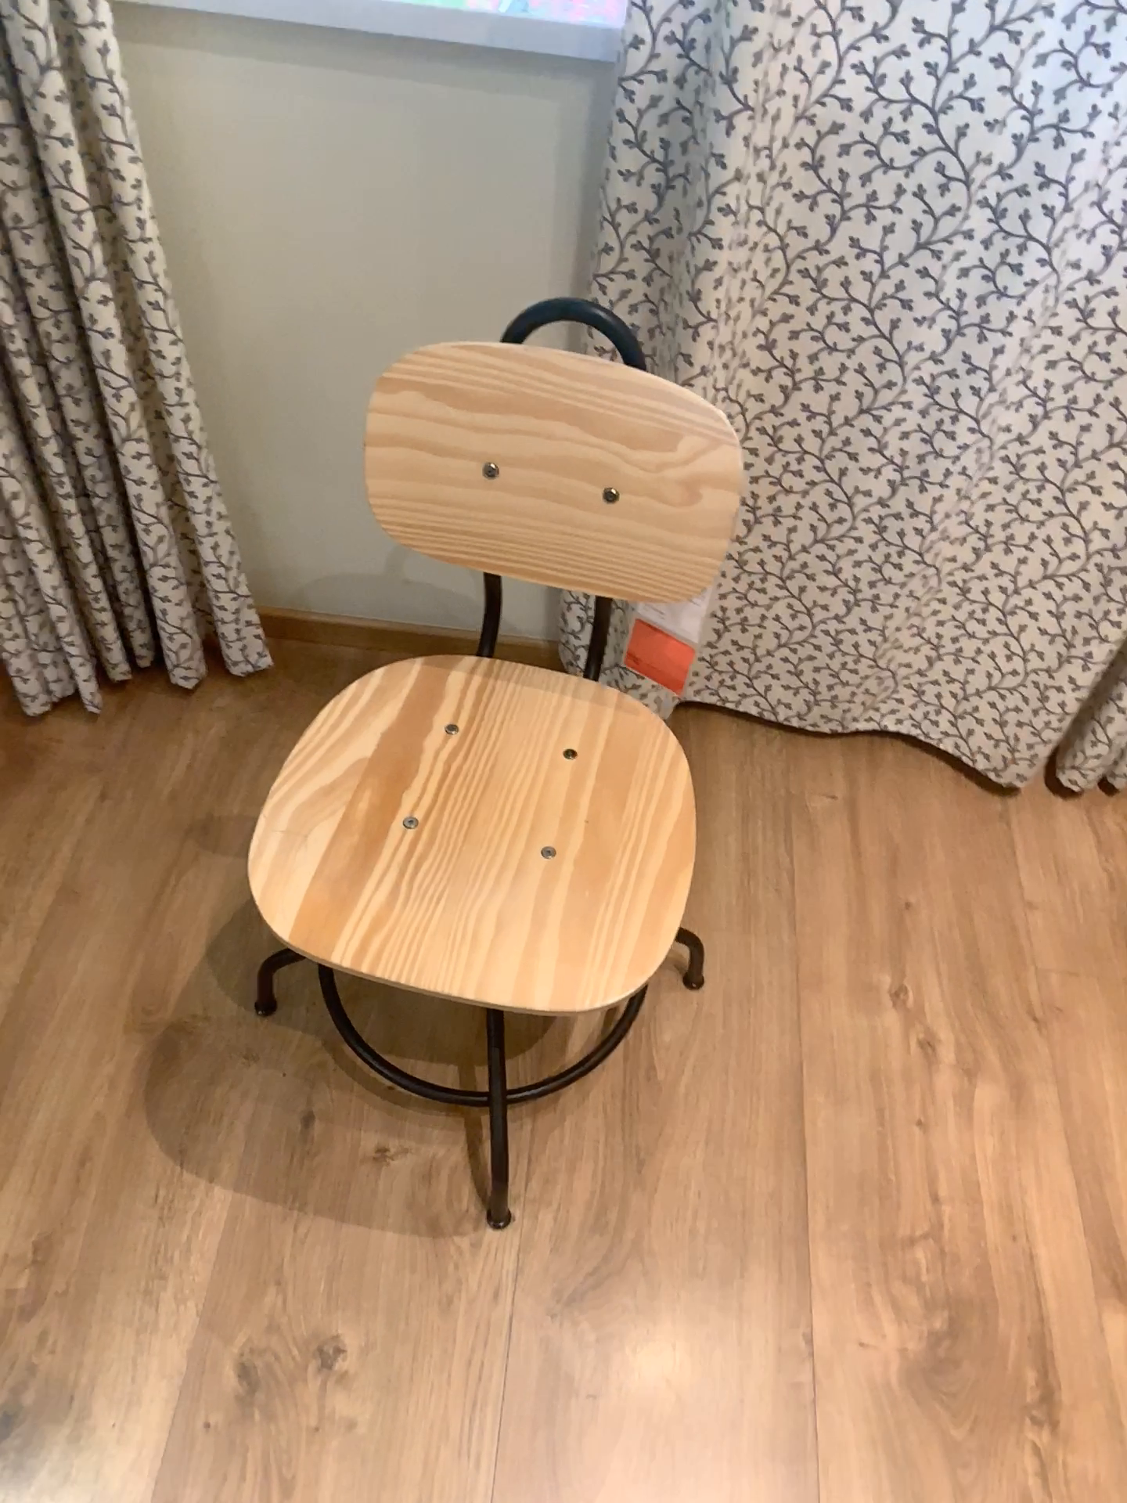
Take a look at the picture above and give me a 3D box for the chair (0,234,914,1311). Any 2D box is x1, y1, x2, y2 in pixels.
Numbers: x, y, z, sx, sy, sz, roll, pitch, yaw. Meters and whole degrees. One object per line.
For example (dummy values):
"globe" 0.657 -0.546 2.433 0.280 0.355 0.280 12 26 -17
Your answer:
"chair" -0.068 0.036 1.058 0.560 0.648 0.622 13 51 5
